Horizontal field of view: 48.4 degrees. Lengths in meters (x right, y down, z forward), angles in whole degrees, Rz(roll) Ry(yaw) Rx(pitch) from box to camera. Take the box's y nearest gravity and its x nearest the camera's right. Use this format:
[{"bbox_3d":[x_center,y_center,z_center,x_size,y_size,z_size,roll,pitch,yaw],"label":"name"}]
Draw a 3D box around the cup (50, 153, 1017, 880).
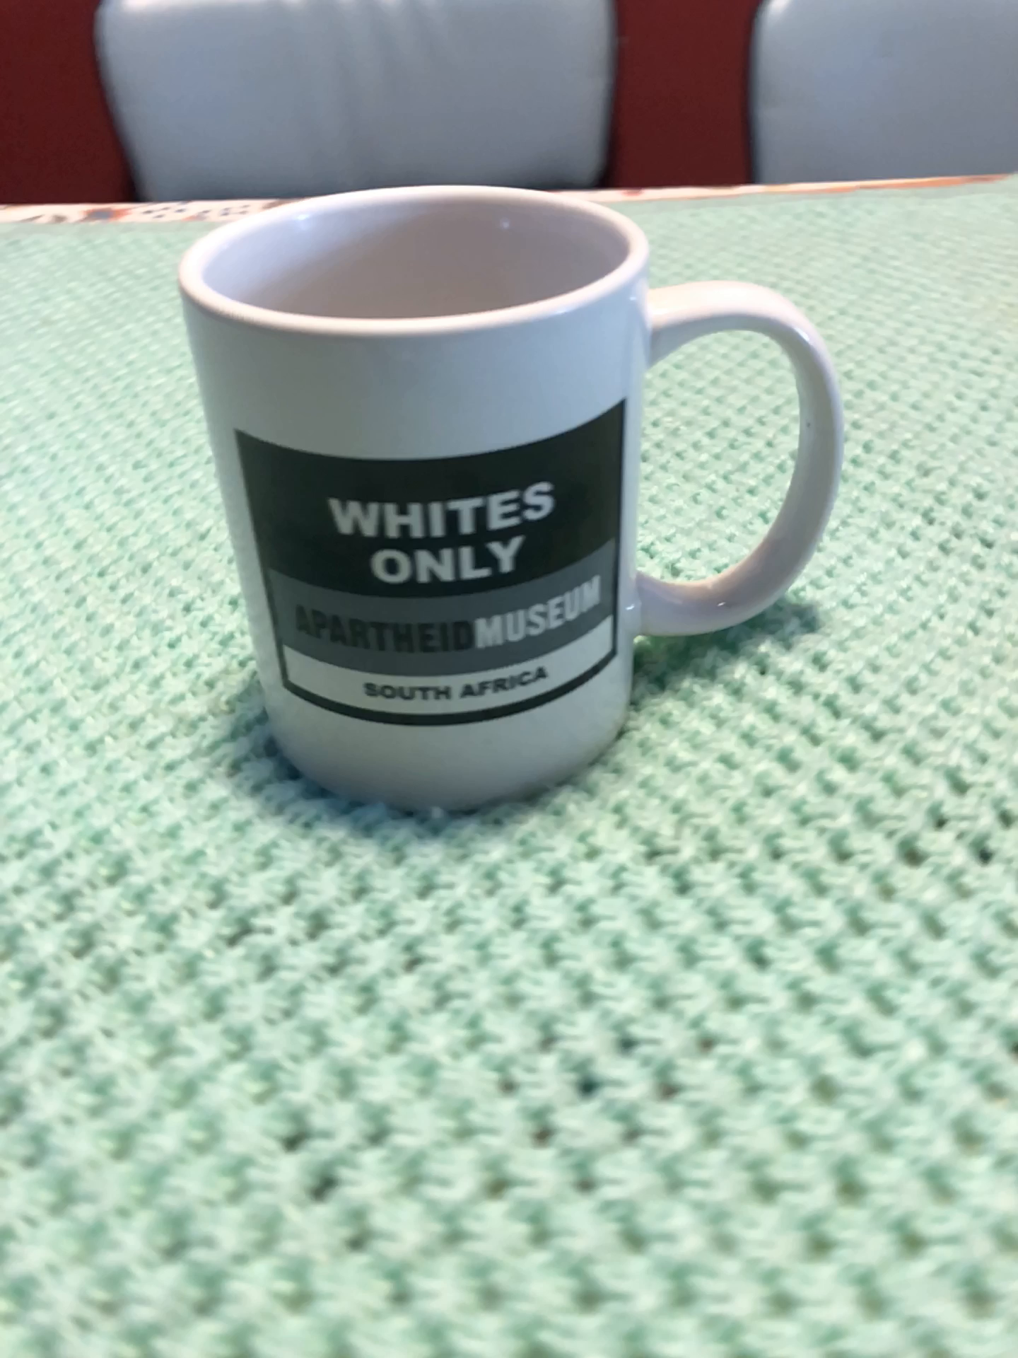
[{"bbox_3d":[0.007,-0.038,0.208,0.140,0.079,0.101,-7,37,-7],"label":"cup"}]
